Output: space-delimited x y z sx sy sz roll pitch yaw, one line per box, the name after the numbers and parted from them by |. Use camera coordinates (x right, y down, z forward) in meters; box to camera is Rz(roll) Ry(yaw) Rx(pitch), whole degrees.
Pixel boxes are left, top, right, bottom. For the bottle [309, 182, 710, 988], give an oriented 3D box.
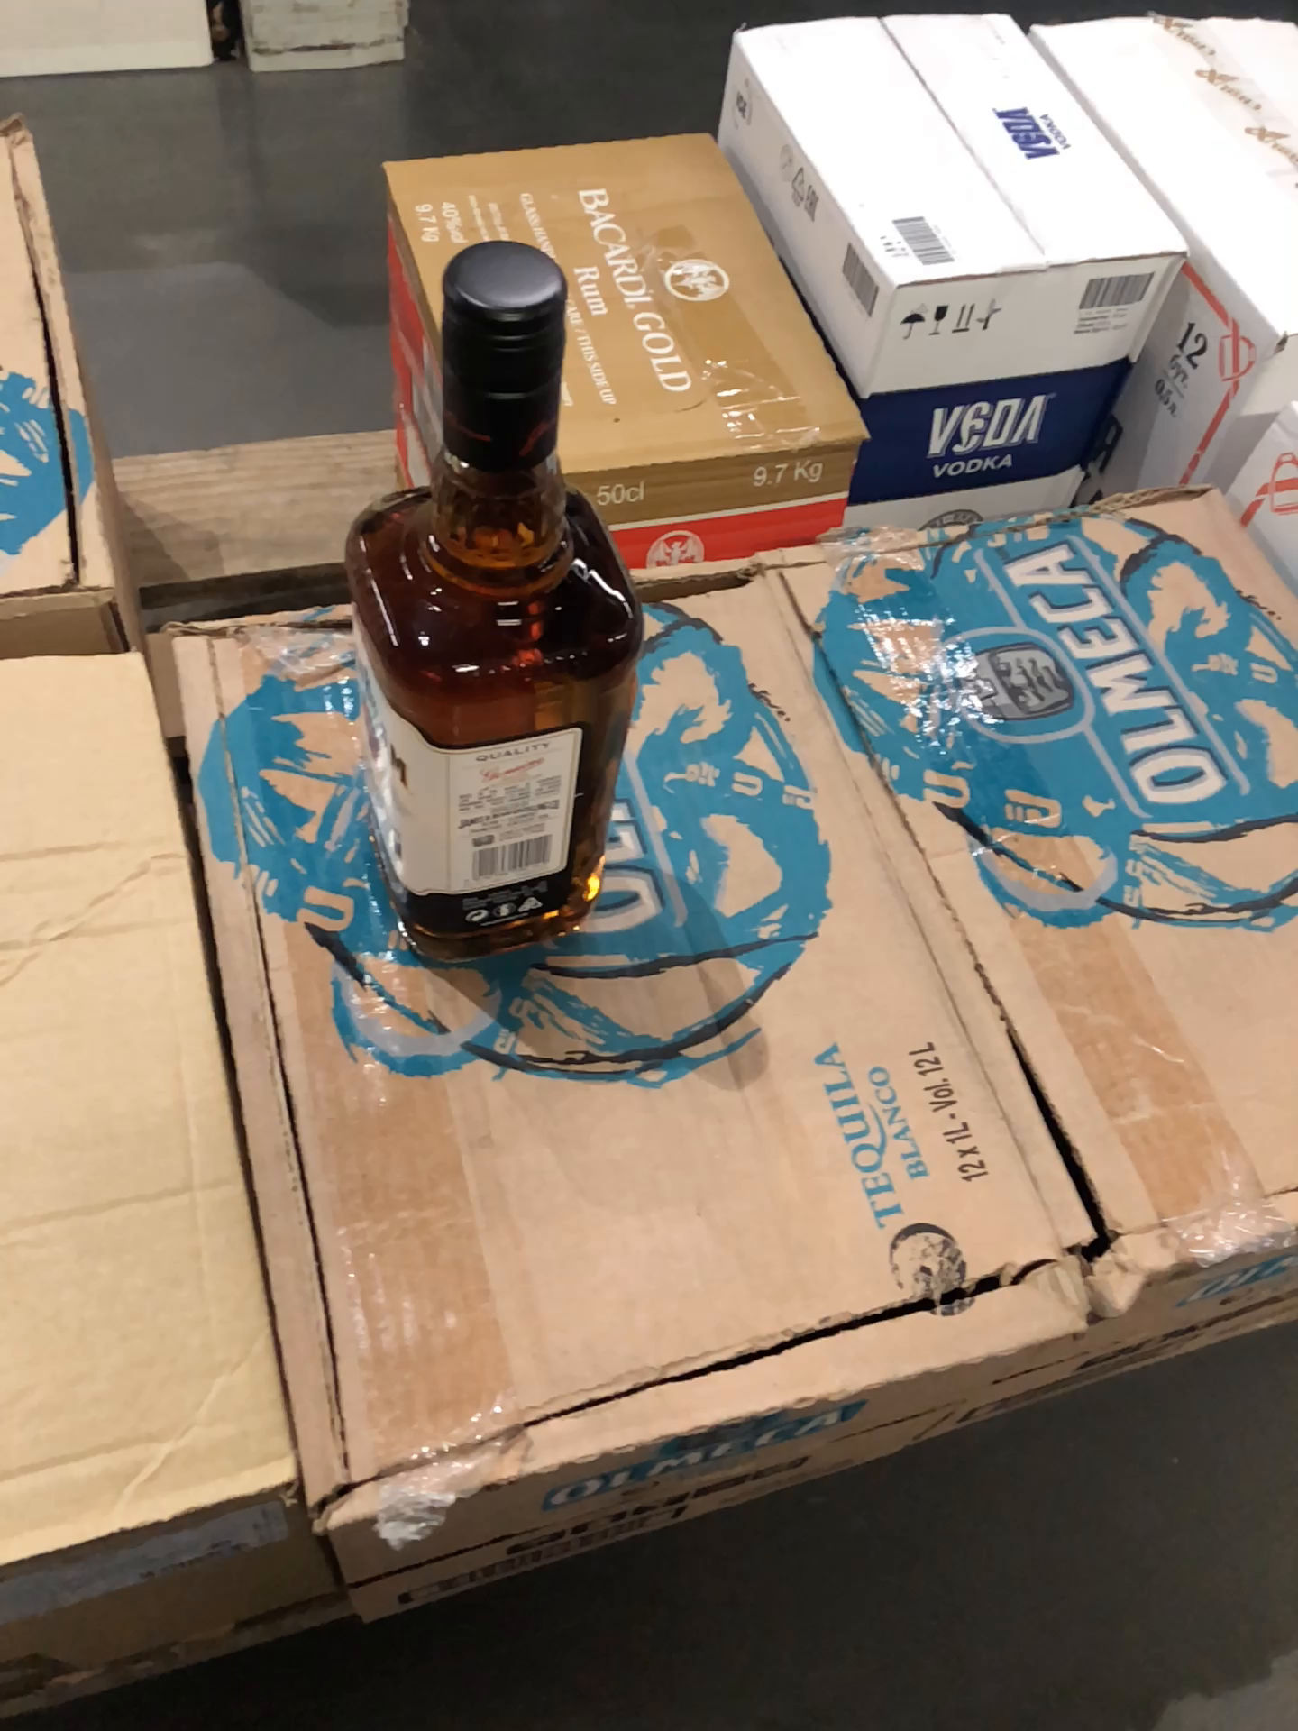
-0.052 -0.071 0.469 0.081 0.263 0.091 -12 58 -15 | bottle
